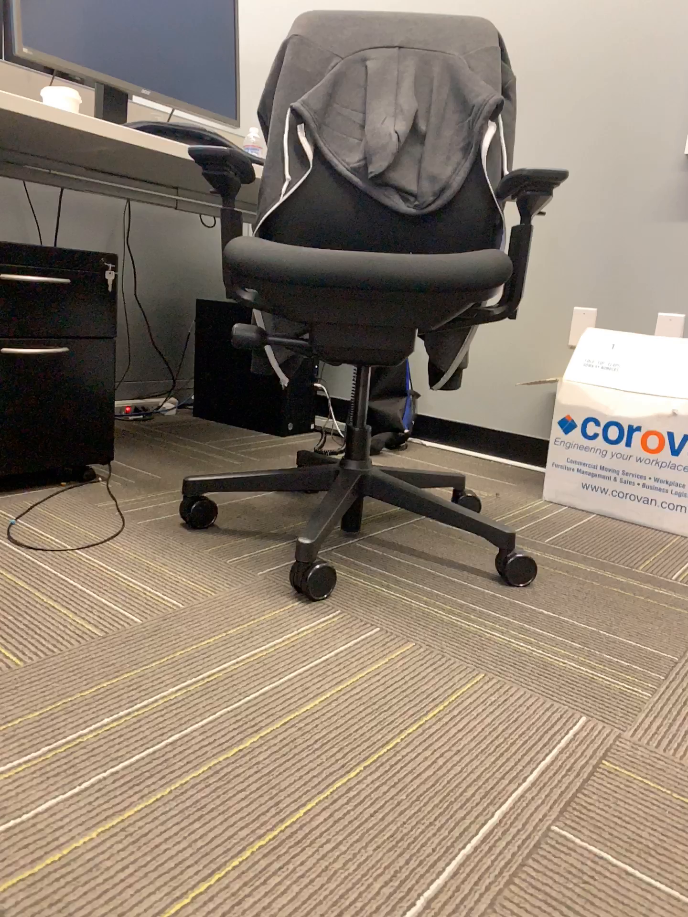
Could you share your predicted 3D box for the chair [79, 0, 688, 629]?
[{"bbox_3d":[0.045,-0.405,1.387,0.750,1.076,0.883,6,12,4],"label":"chair"}]
